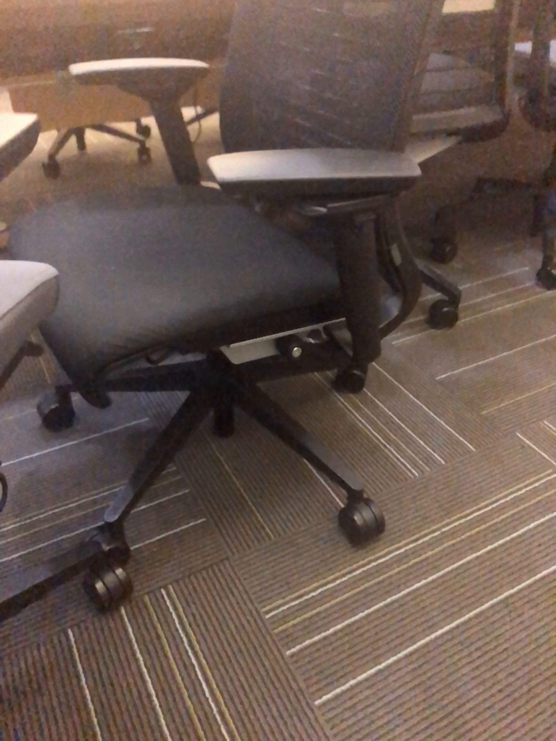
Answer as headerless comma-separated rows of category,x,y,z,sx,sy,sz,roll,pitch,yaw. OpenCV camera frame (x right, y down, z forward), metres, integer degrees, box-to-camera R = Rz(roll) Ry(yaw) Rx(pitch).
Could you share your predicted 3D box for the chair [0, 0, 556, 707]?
chair,-0.132,-0.239,0.965,0.733,0.992,0.723,-18,37,-24
